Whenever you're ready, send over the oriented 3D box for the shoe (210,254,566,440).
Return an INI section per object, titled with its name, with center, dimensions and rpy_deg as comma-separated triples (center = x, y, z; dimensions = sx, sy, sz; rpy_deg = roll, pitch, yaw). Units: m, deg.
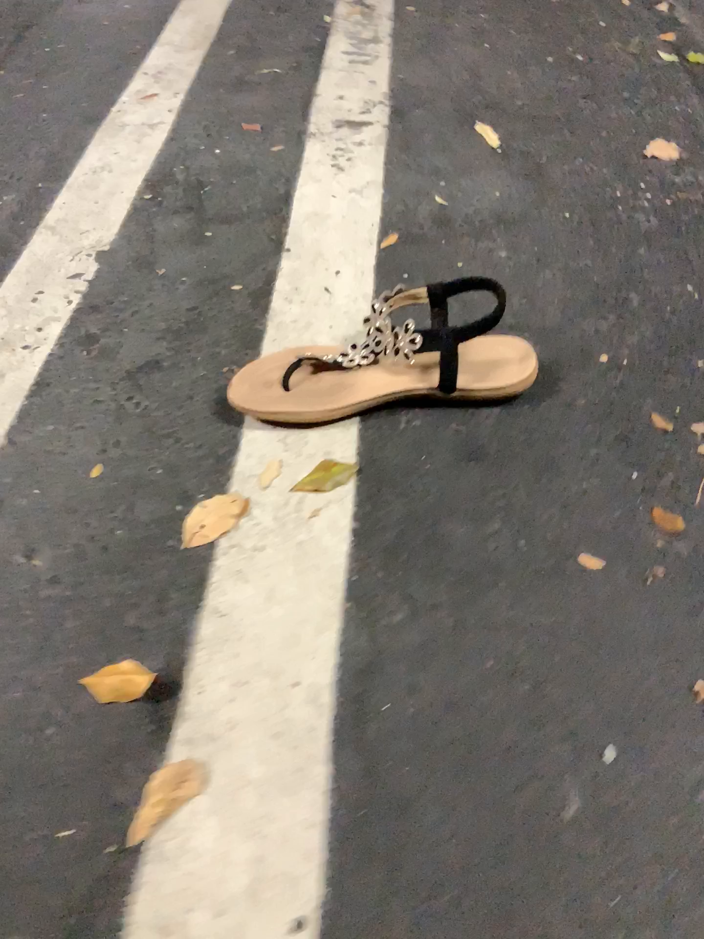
[shoe]
center = 0.024, -0.101, 0.631
dimensions = 0.260, 0.060, 0.120
rpy_deg = -6, 49, 0
